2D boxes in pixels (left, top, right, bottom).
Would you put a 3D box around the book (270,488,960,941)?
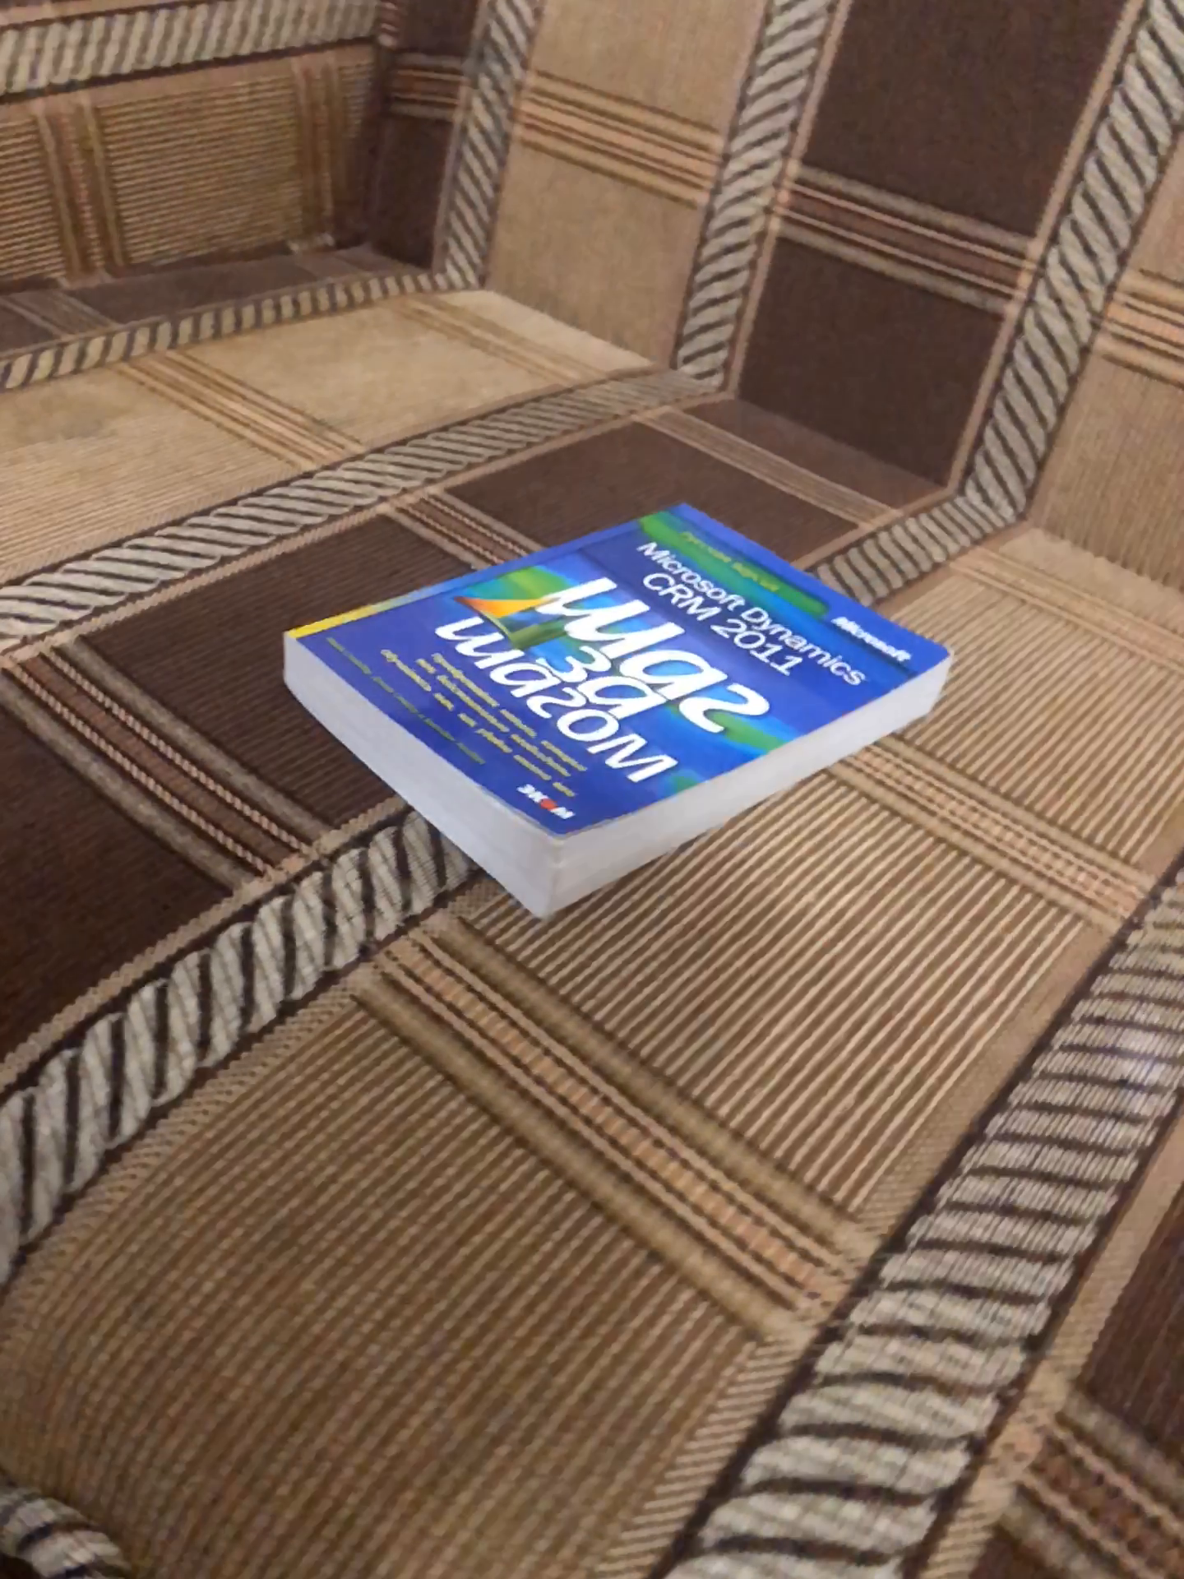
[{"bbox_3d":[0.011,-0.043,0.475,0.201,0.033,0.150,-25,49,-36],"label":"book"}]
